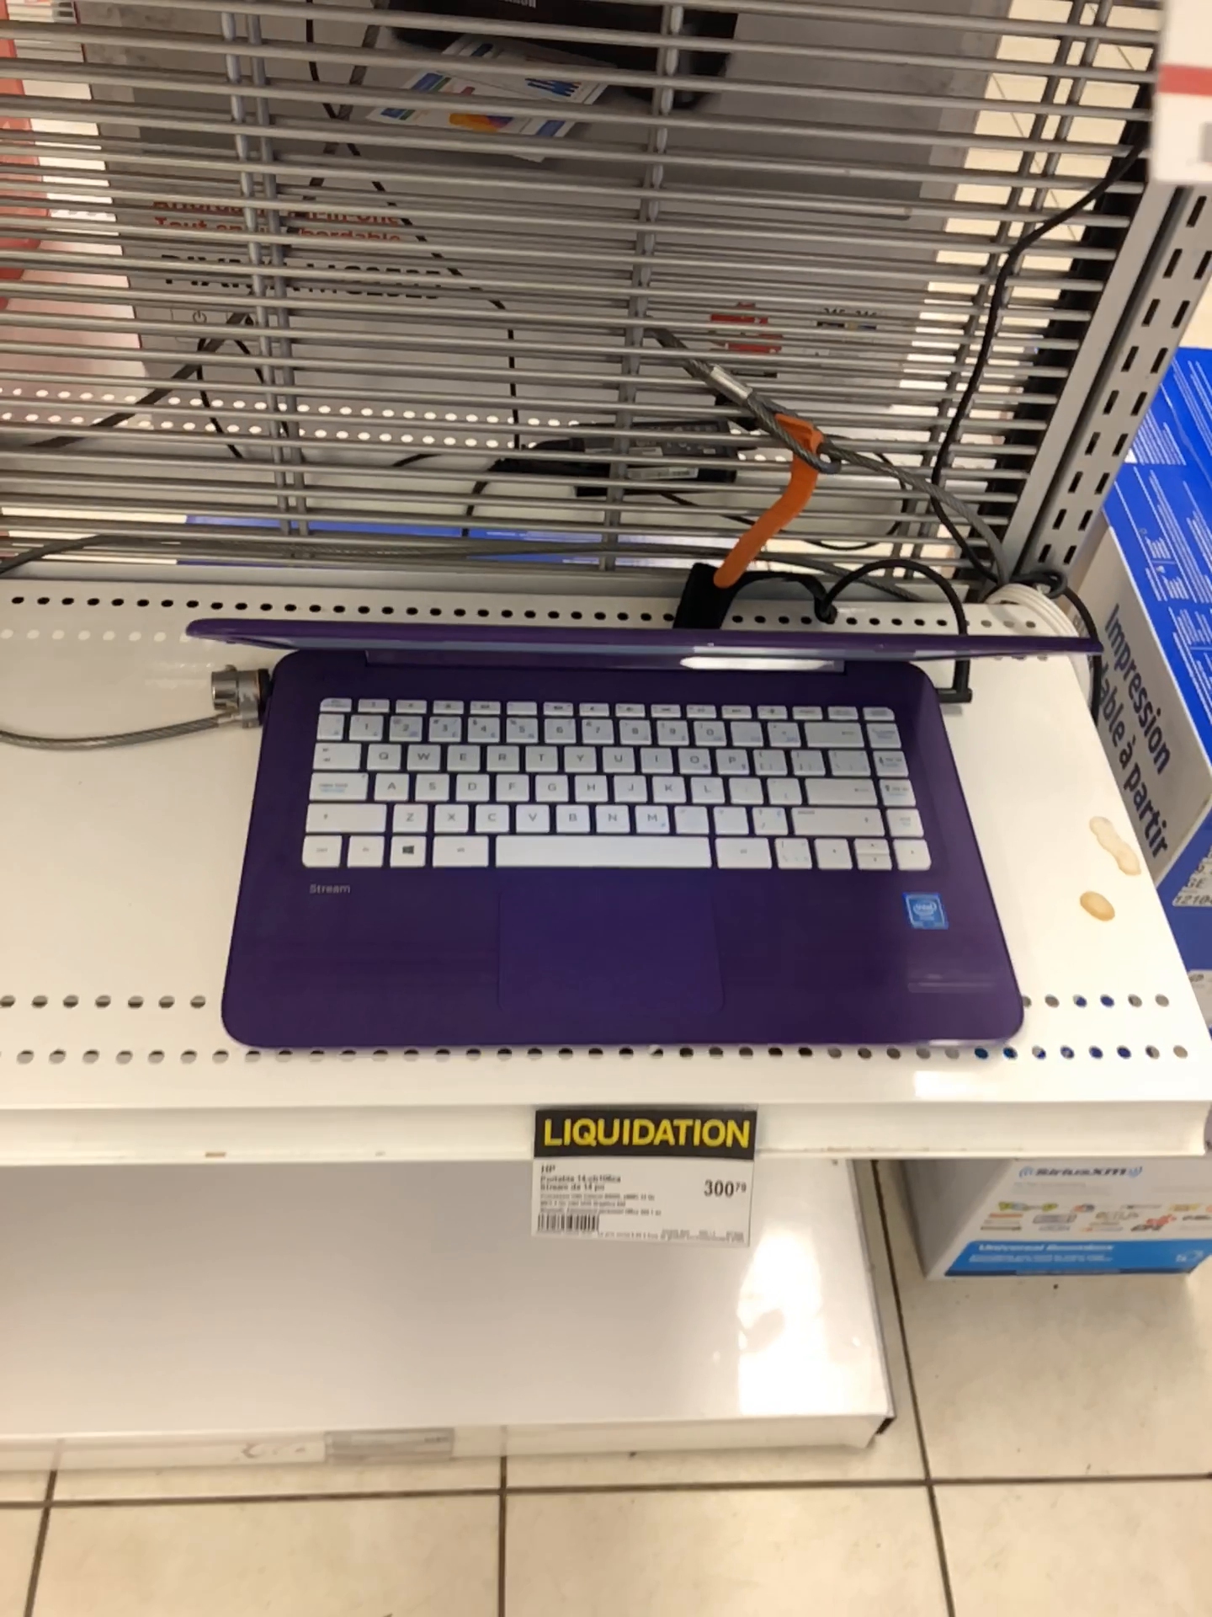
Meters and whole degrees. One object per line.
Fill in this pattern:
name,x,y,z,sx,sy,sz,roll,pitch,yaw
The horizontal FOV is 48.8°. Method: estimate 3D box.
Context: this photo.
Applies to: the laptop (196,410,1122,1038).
laptop,0.014,-0.035,0.550,0.305,0.138,0.207,1,53,-5
